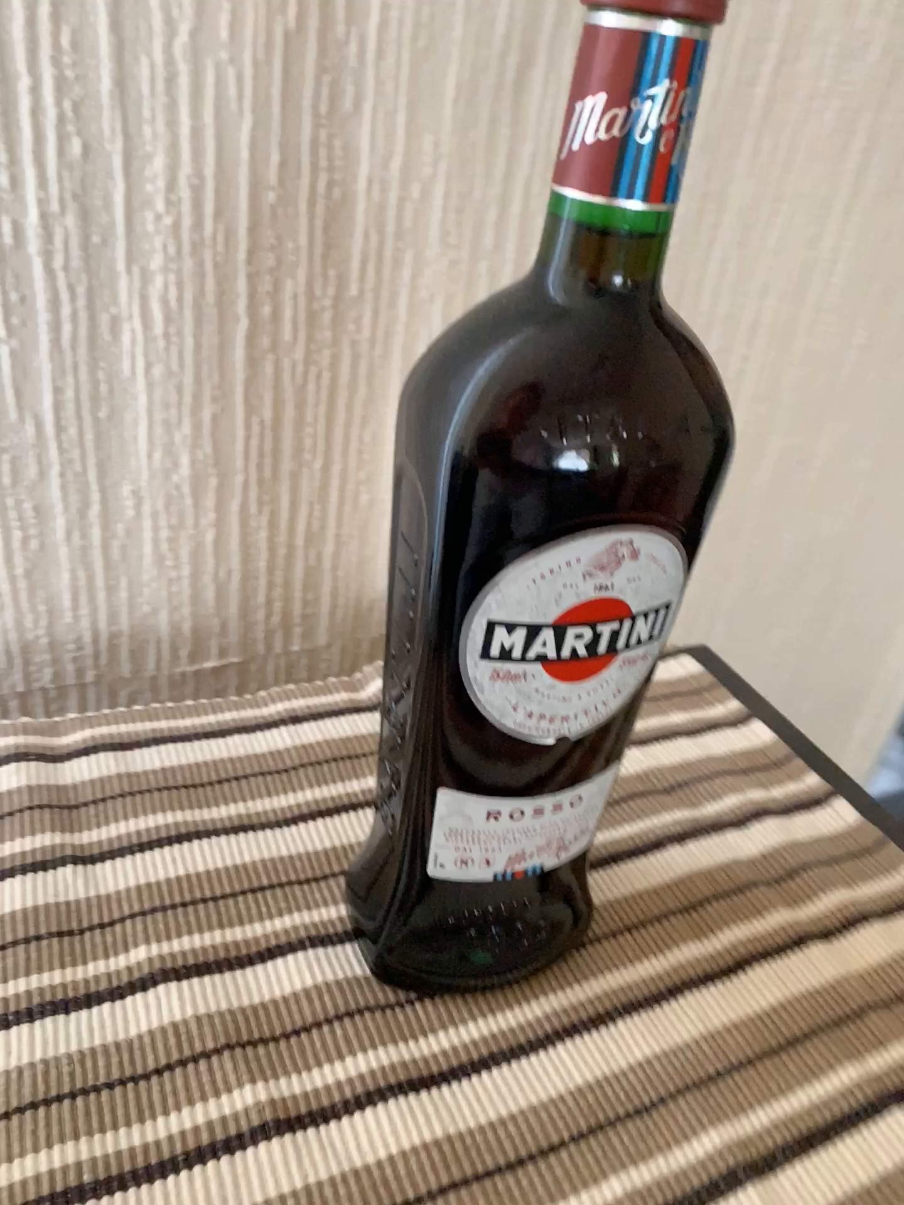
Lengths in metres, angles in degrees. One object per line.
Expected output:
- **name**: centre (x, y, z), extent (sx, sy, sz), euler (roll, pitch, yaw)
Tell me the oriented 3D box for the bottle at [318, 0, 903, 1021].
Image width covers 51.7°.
- **bottle**: centre (0.025, -0.017, 0.254), extent (0.090, 0.297, 0.060), euler (-5, 33, -23)
